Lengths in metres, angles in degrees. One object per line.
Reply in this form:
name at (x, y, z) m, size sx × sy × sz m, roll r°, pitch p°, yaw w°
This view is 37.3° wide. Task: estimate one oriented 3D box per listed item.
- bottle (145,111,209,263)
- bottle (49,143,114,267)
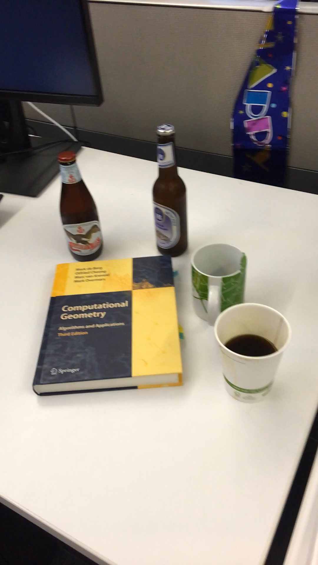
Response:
bottle at (0.033, -0.145, 0.748) m, size 0.060 × 0.220 × 0.070 m, roll 30°, pitch 53°, yaw 32°
bottle at (-0.120, -0.119, 0.755) m, size 0.070 × 0.180 × 0.070 m, roll -3°, pitch 42°, yaw 3°
